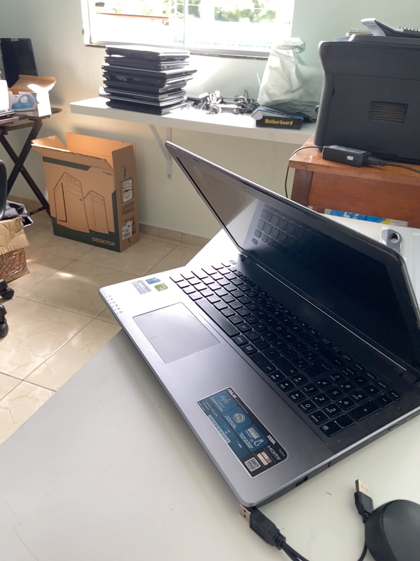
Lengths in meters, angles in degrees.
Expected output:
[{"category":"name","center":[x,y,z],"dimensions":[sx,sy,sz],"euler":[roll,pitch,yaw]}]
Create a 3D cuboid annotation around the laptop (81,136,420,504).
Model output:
[{"category":"laptop","center":[0.041,-0.018,0.481],"dimensions":[0.246,0.190,0.366],"euler":[-15,34,-28]}]
